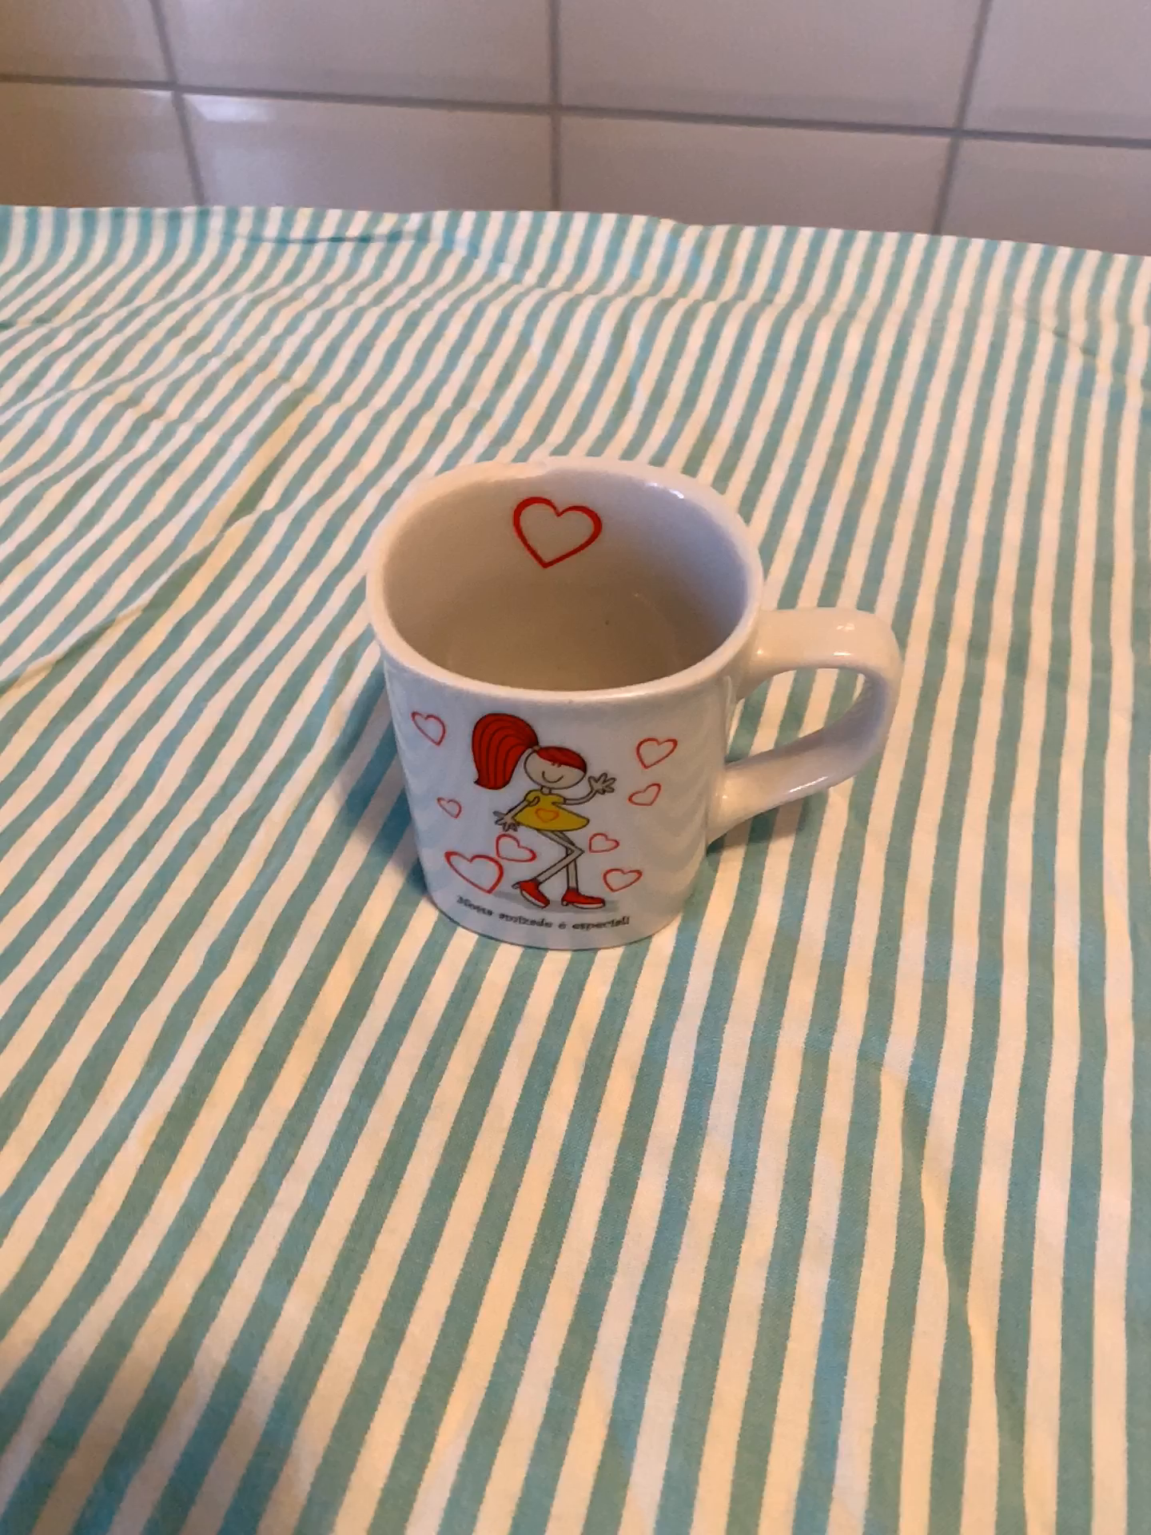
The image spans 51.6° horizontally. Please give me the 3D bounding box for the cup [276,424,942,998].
[{"bbox_3d":[0.010,-0.012,0.247,0.110,0.080,0.070,8,48,7],"label":"cup"}]
